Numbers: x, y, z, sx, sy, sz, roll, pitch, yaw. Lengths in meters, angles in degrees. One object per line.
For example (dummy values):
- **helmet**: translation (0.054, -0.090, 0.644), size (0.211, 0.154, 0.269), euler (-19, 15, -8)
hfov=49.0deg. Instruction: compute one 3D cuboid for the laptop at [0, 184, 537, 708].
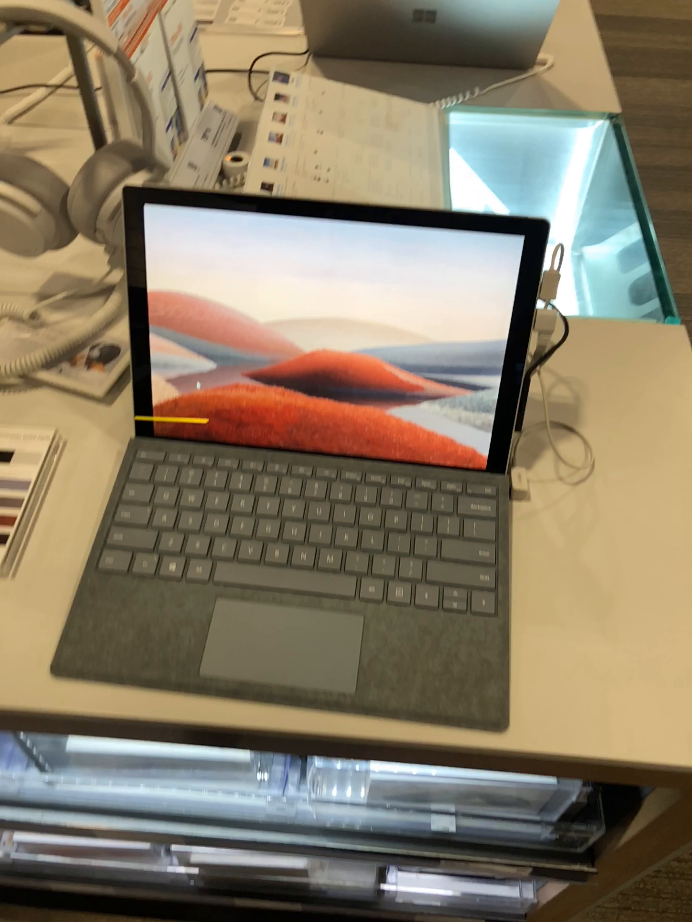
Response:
- **laptop**: translation (-0.031, -0.022, 0.490), size (0.261, 0.143, 0.285), euler (5, 56, 7)
